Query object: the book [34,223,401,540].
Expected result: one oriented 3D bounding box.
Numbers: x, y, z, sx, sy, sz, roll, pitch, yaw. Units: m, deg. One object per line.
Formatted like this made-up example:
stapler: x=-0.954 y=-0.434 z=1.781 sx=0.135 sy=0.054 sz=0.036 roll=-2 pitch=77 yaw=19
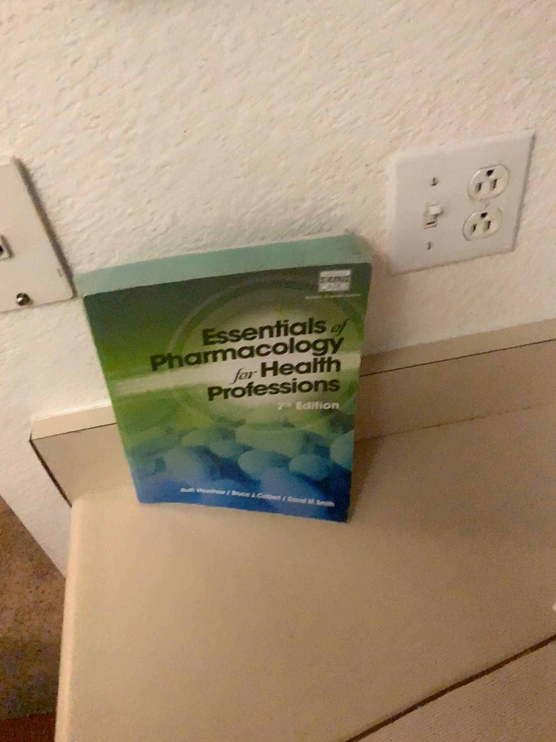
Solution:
book: x=-0.034 y=0.025 z=0.531 sx=0.240 sy=0.270 sz=0.090 roll=-5 pitch=45 yaw=0
